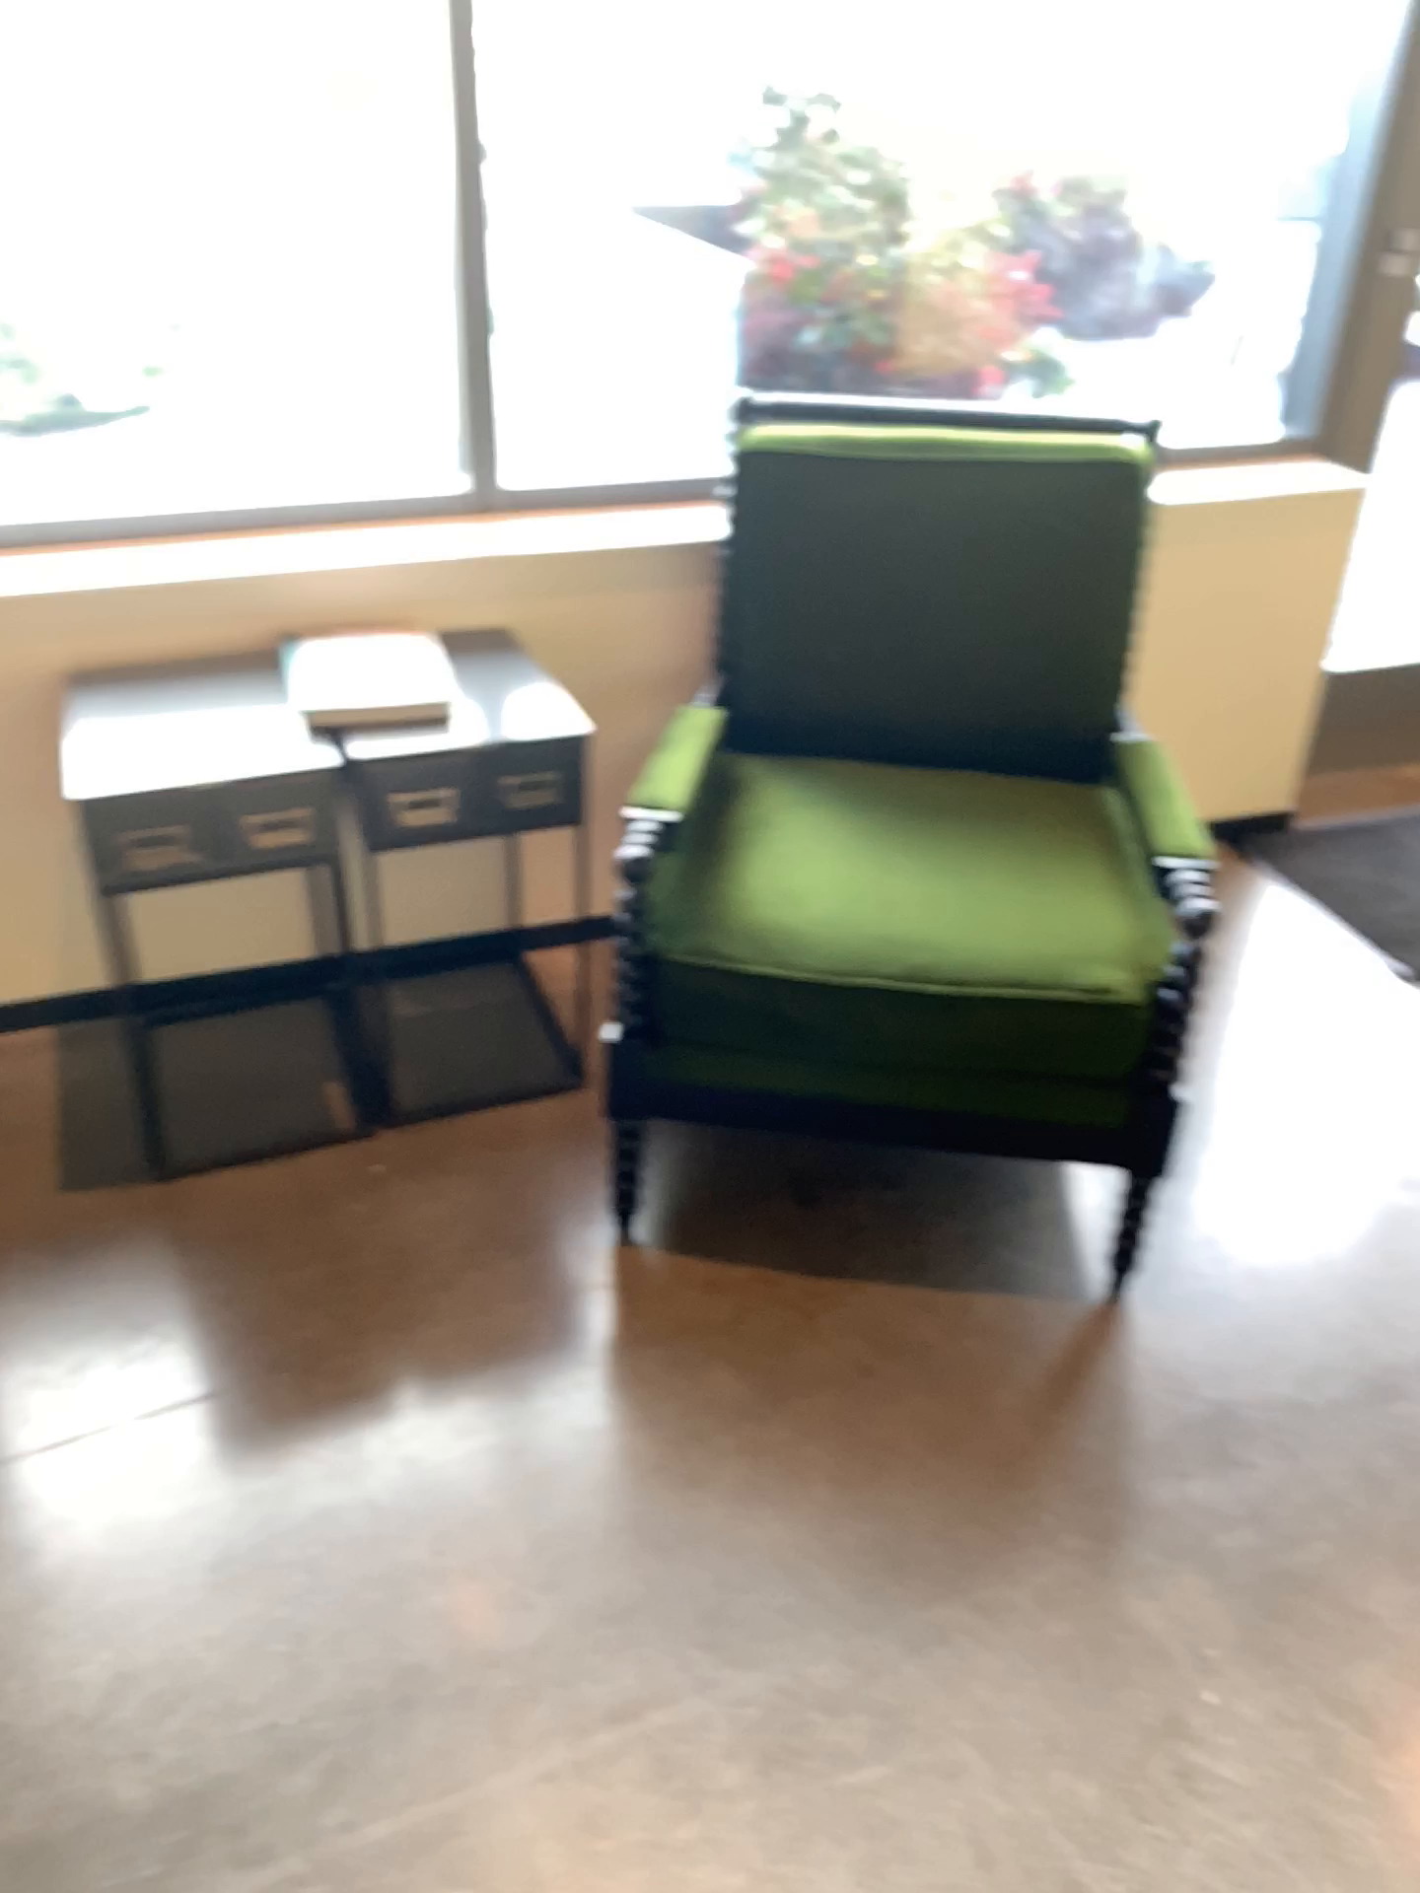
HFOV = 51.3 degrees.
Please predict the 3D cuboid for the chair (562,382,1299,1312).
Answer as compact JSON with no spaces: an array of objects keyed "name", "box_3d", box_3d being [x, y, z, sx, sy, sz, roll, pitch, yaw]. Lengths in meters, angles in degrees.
[{"name":"chair","box_3d":[0.272,-0.202,2.182,0.760,0.984,0.925,6,32,6]}]
